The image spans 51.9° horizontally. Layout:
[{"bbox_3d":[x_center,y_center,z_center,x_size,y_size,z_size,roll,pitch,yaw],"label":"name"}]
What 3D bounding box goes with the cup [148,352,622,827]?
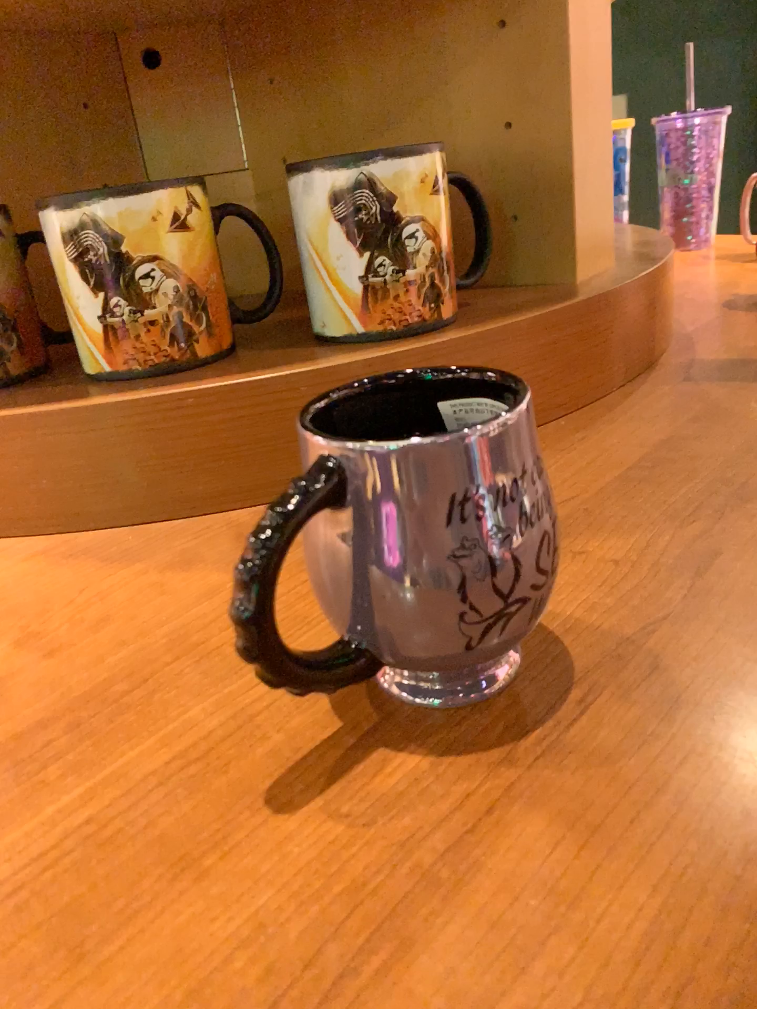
[{"bbox_3d":[0.012,0.012,0.256,0.086,0.089,0.125,13,31,40],"label":"cup"}]
